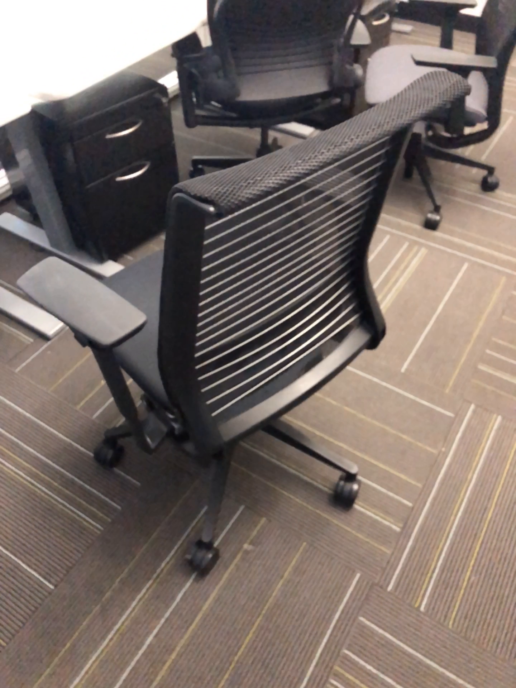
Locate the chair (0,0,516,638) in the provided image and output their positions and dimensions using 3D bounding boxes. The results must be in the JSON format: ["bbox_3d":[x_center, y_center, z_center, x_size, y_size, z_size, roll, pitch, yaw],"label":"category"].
[{"bbox_3d":[-0.027,-0.111,1.143,0.751,0.996,0.662,-35,56,-28],"label":"chair"}]
